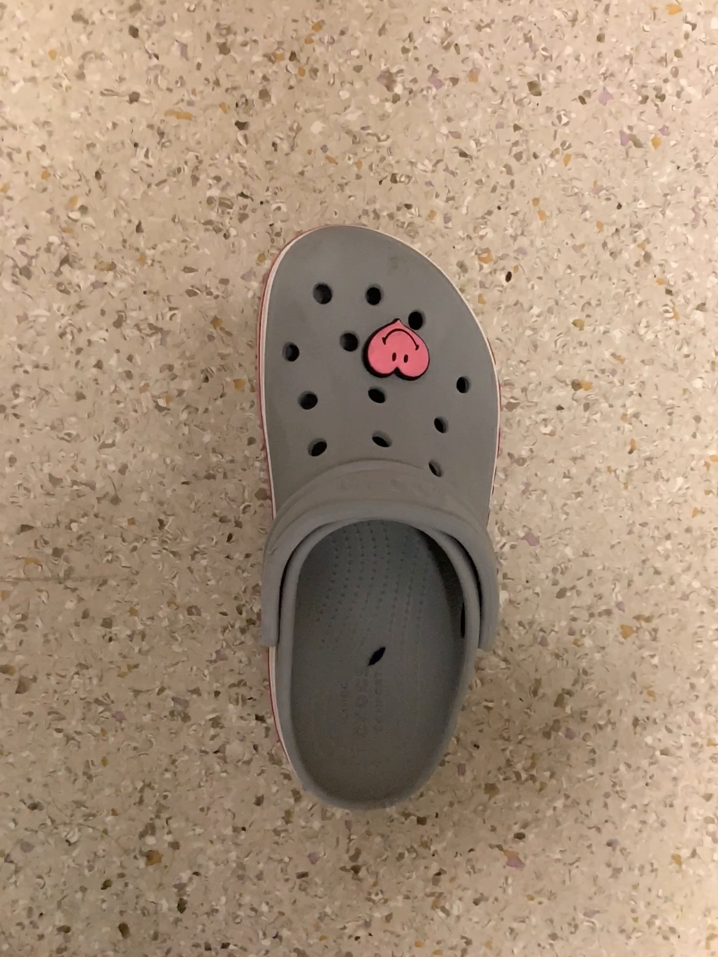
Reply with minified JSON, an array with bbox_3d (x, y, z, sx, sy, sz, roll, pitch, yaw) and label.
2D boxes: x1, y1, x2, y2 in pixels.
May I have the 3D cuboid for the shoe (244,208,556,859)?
[{"bbox_3d":[0.011,0.018,0.308,0.109,0.091,0.226,-1,91,-7],"label":"shoe"}]
